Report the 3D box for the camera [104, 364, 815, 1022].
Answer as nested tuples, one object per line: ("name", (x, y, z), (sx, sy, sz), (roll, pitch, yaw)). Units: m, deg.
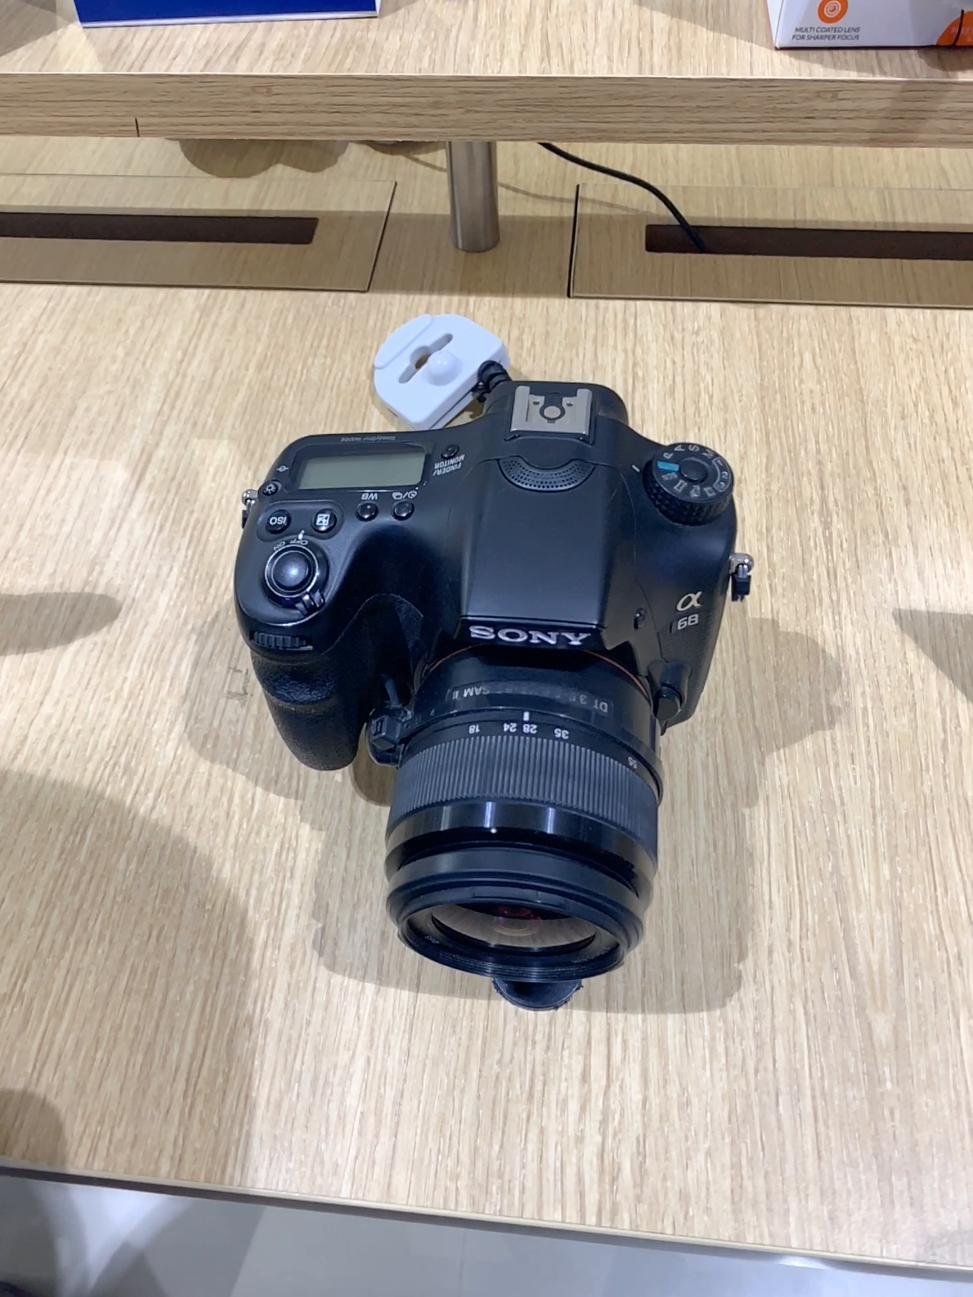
("camera", (0.000, 0.011, 0.261), (0.130, 0.100, 0.135), (2, 56, 5))
